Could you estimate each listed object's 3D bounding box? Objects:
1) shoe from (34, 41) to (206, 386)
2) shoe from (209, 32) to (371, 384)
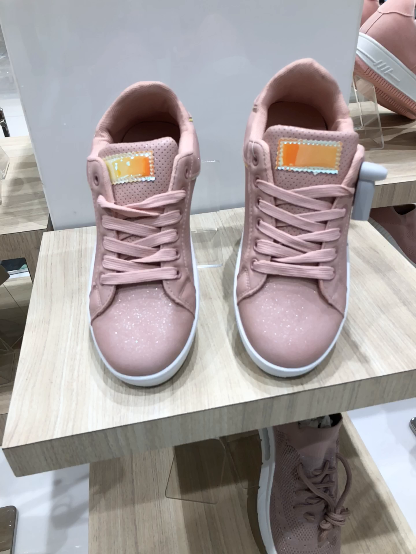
[{"bbox_3d":[-0.057,-0.046,0.362,0.103,0.093,0.253,-1,74,1],"label":"shoe"},{"bbox_3d":[0.067,-0.056,0.368,0.099,0.093,0.262,5,72,6],"label":"shoe"}]
